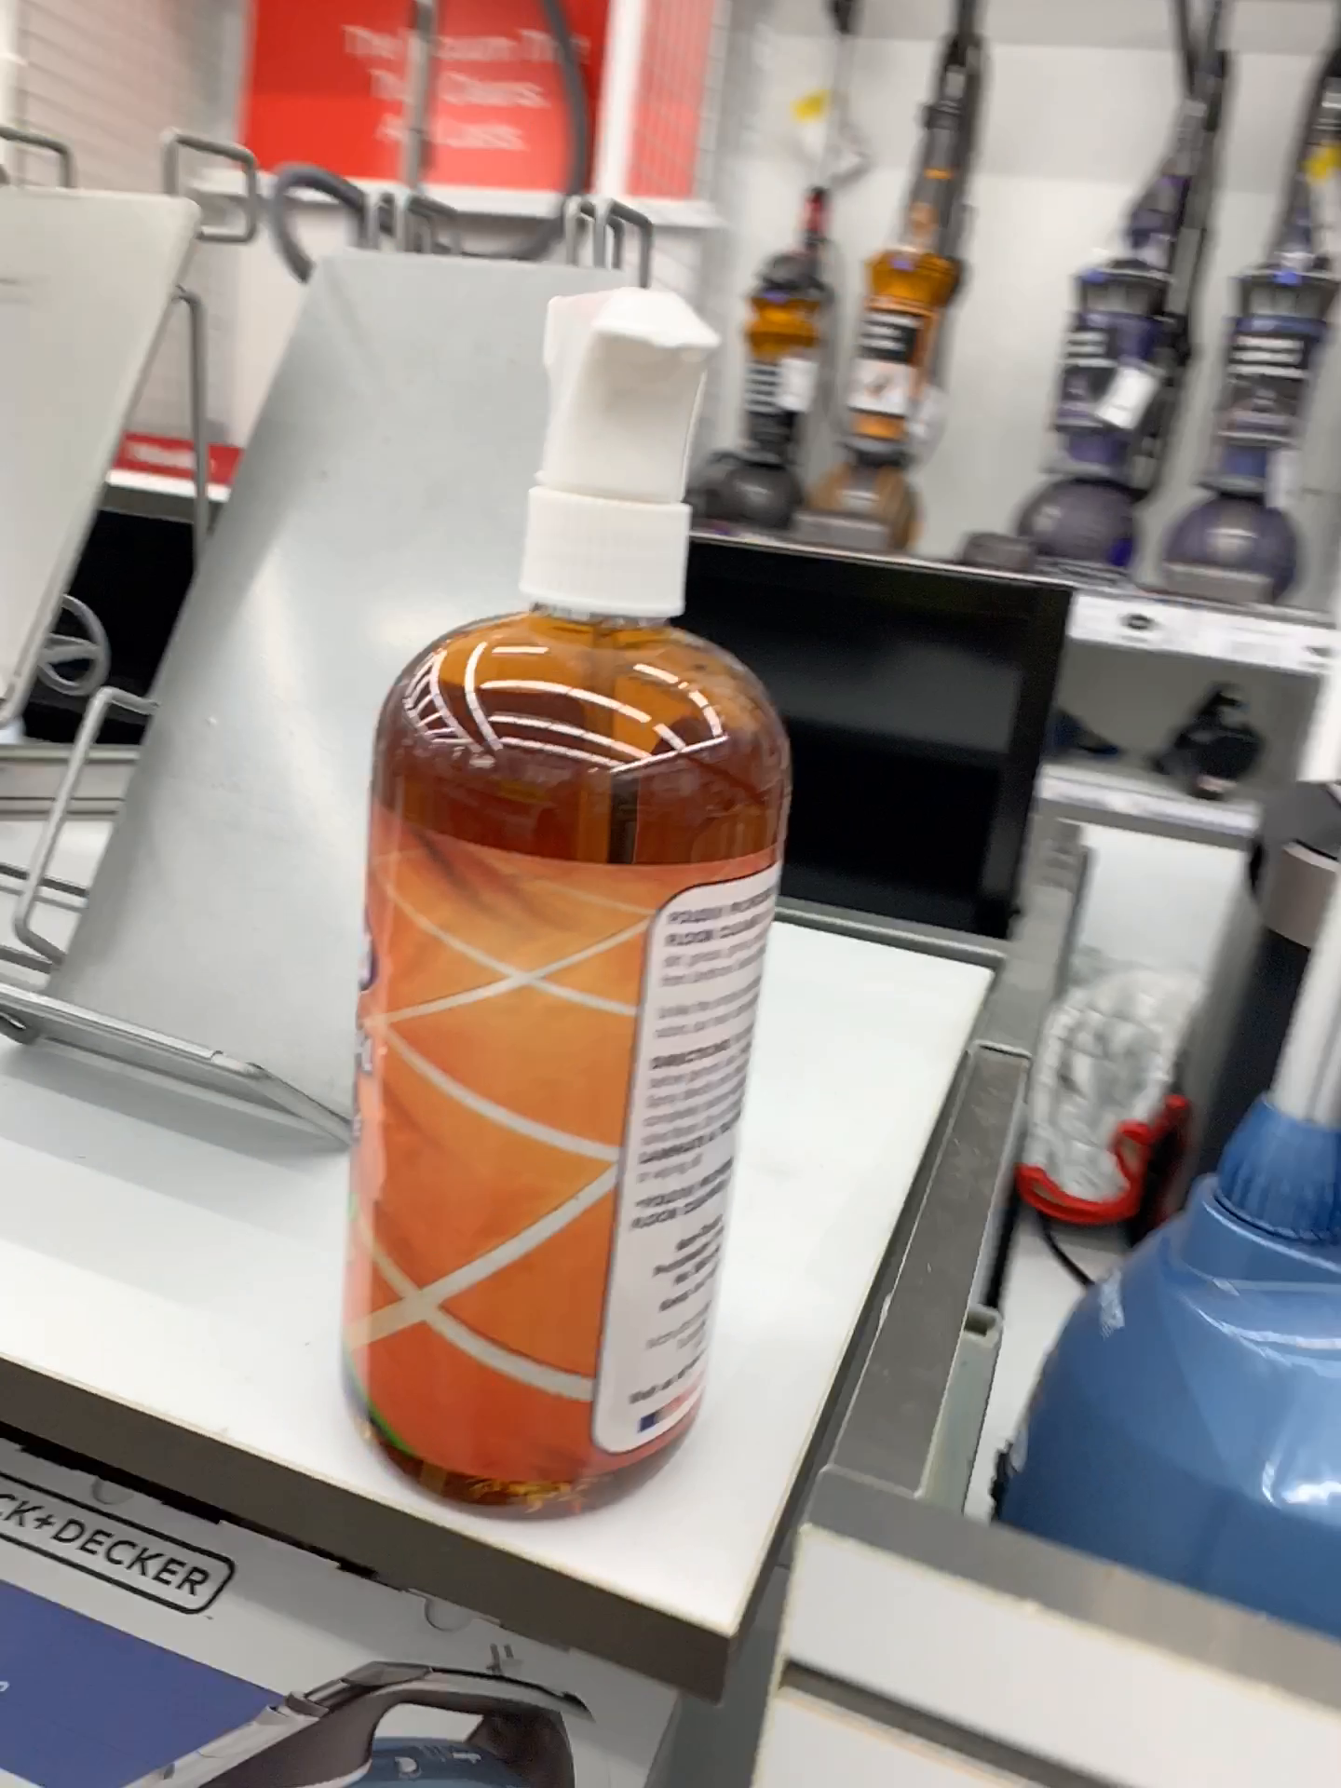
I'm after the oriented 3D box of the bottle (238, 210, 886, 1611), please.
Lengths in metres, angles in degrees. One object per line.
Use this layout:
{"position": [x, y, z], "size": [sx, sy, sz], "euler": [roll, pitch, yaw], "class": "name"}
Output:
{"position": [-0.021, 0.004, 0.298], "size": [0.090, 0.249, 0.100], "euler": [10, 15, 8], "class": "bottle"}
